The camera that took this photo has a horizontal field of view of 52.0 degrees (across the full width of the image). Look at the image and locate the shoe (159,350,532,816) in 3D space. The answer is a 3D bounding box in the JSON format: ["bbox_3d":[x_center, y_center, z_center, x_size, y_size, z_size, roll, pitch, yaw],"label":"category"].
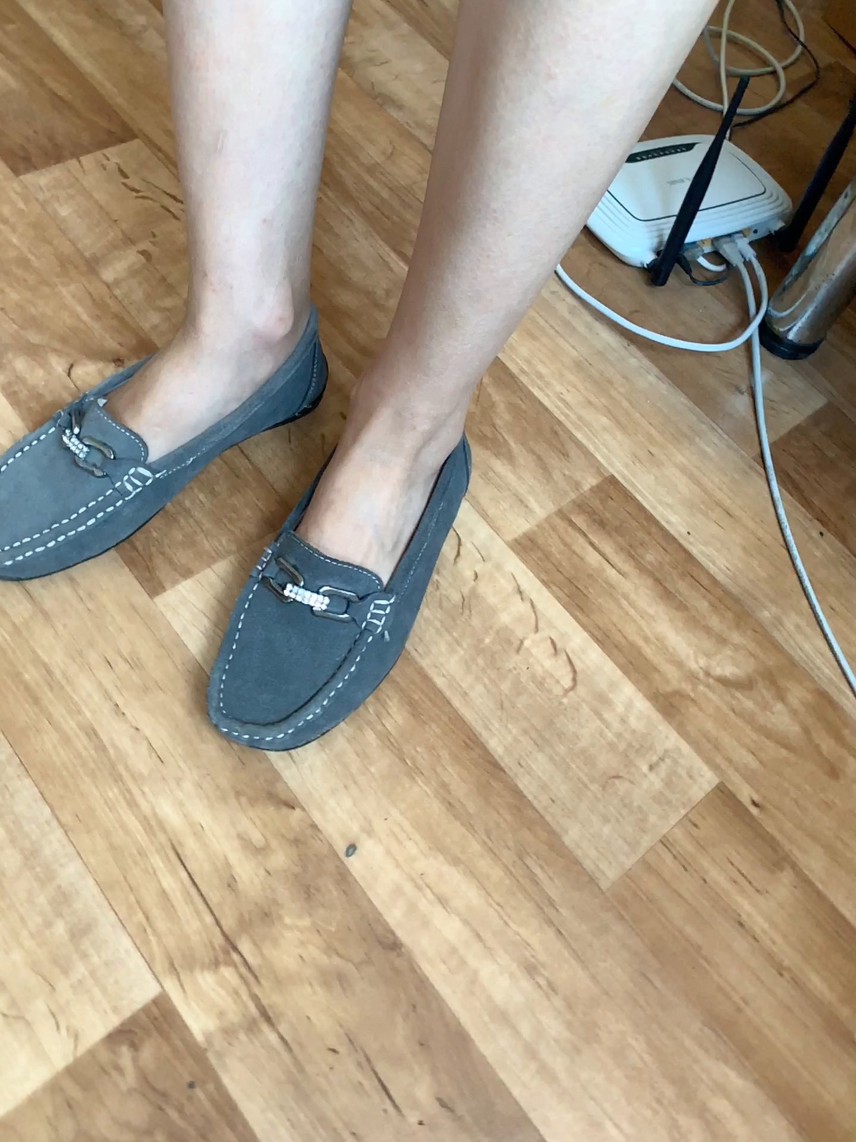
[{"bbox_3d":[-0.036,-0.004,0.483,0.100,0.060,0.241,25,59,3],"label":"shoe"}]

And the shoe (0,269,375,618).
[{"bbox_3d":[-0.154,-0.083,0.513,0.240,0.060,0.090,-35,69,-26],"label":"shoe"}]
